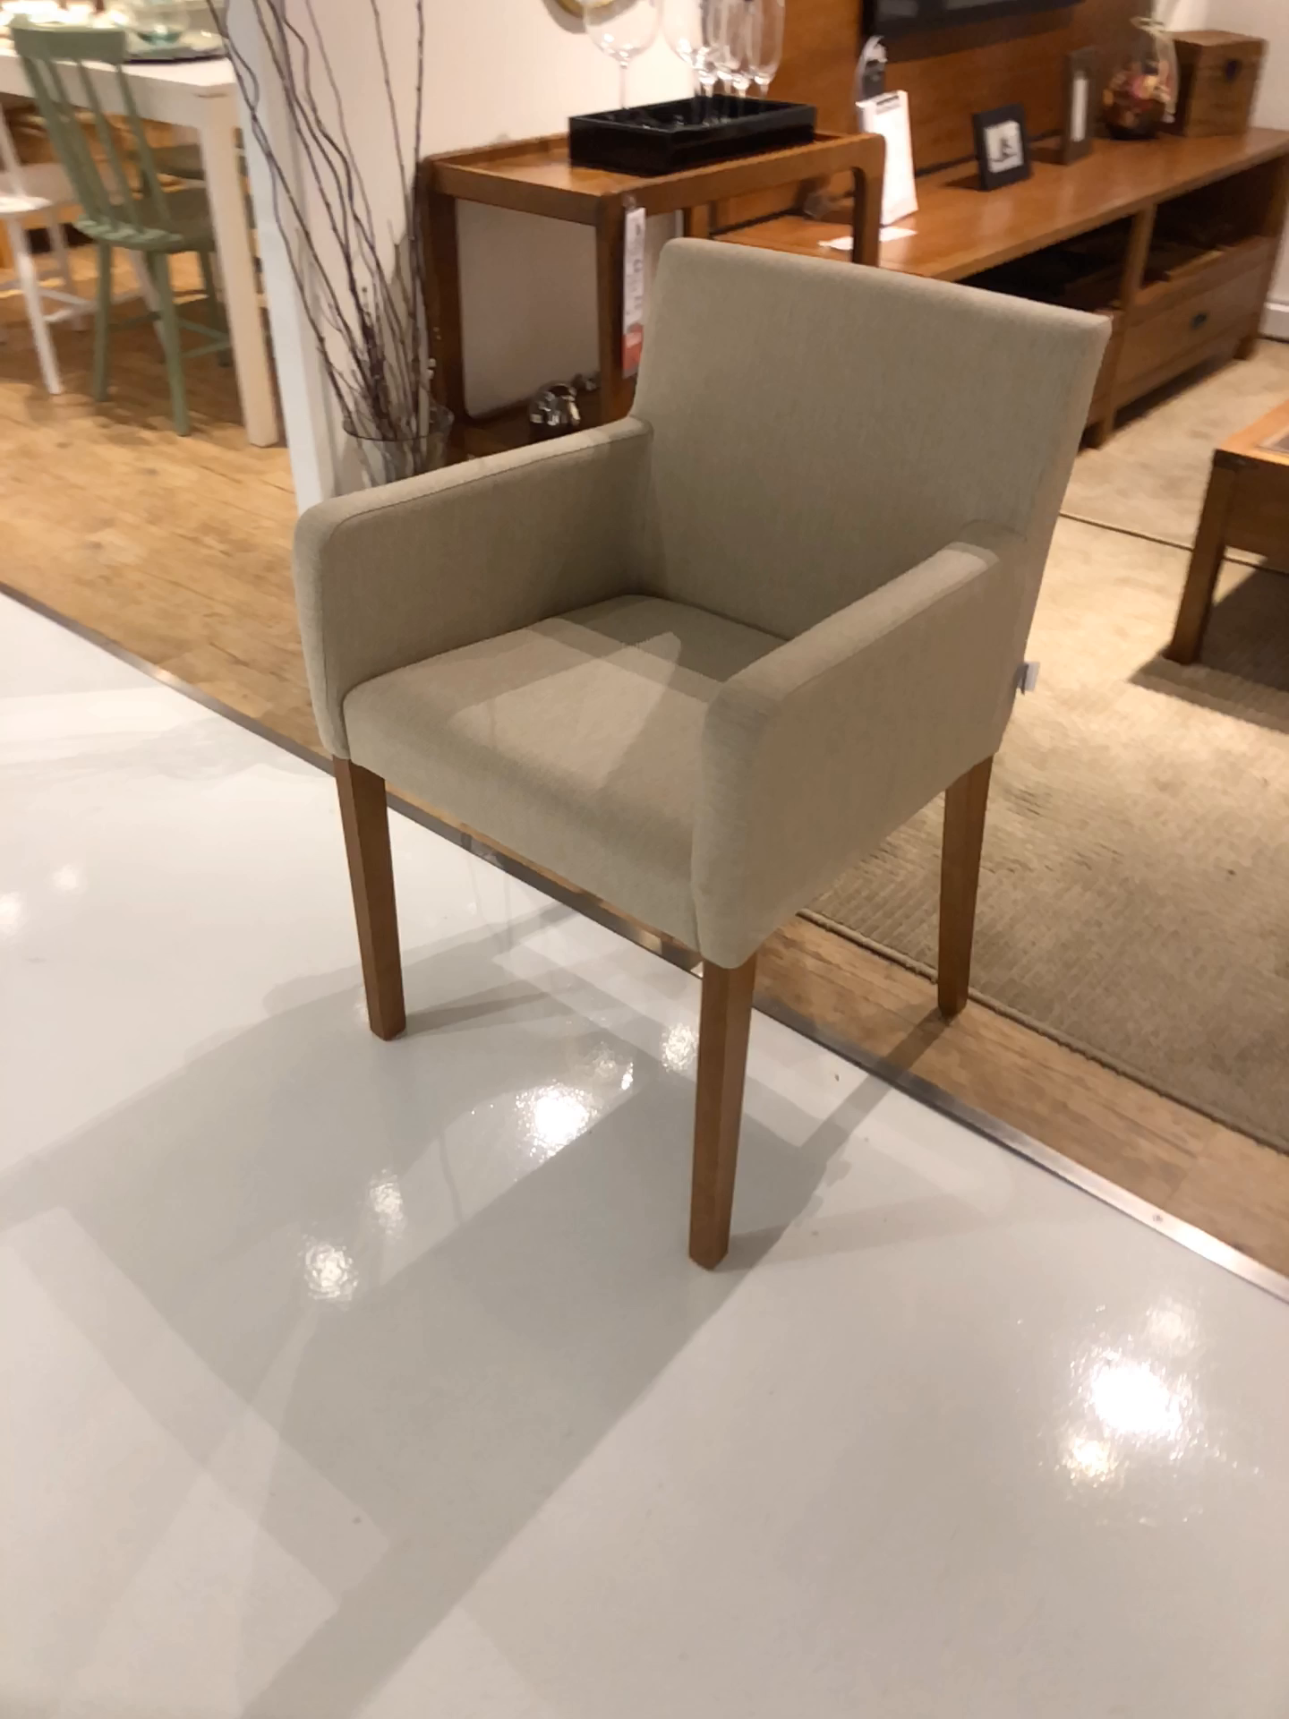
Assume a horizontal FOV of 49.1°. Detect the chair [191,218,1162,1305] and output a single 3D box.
[{"bbox_3d":[0.038,-0.150,1.479,0.602,0.793,0.623,27,44,33],"label":"chair"}]
